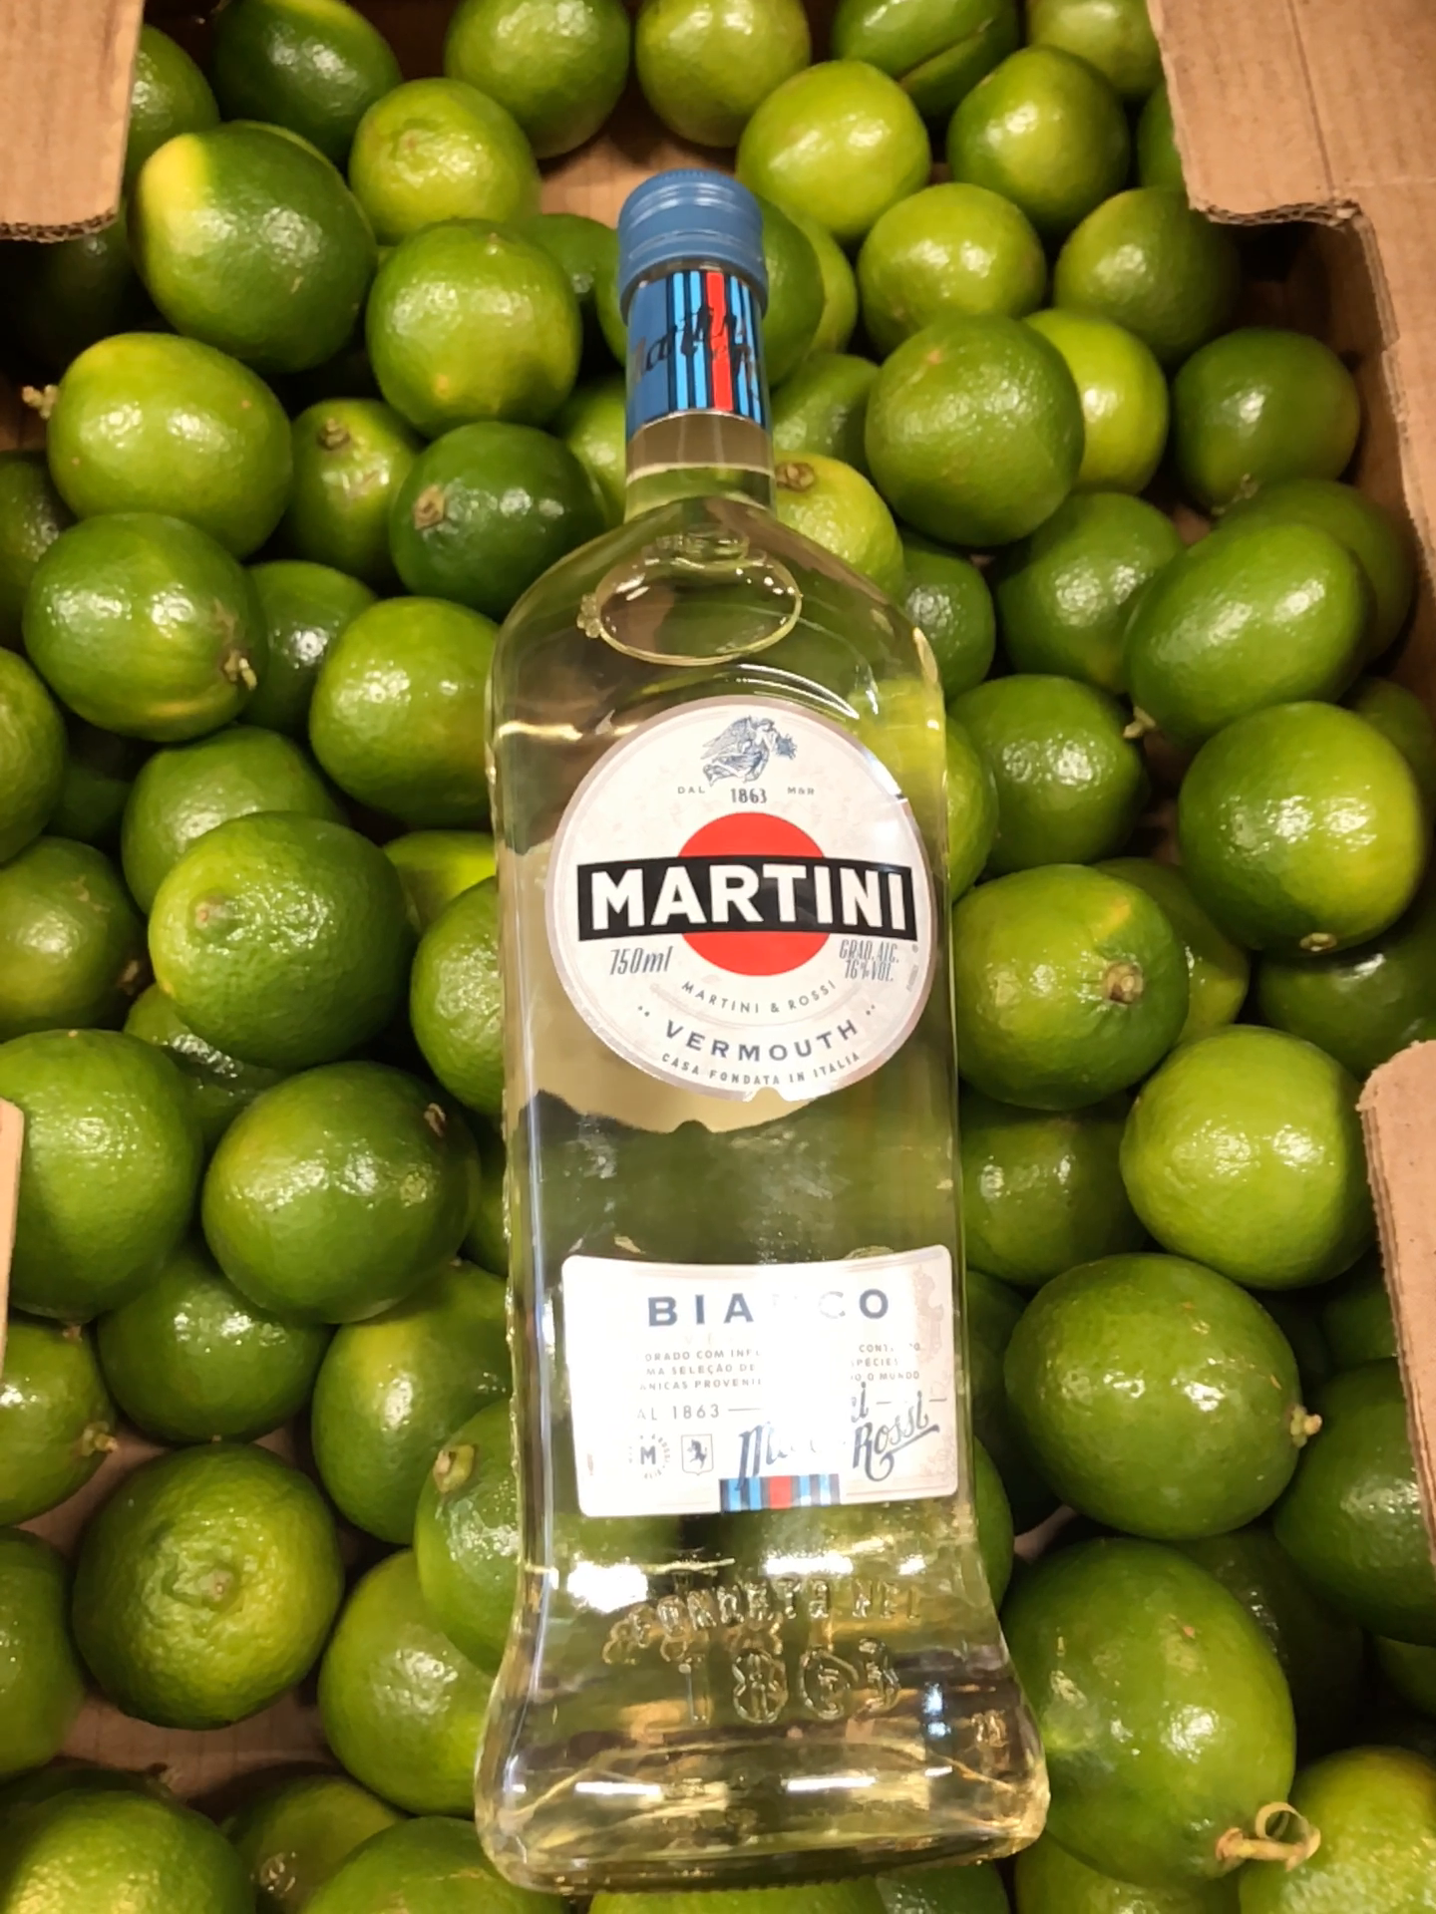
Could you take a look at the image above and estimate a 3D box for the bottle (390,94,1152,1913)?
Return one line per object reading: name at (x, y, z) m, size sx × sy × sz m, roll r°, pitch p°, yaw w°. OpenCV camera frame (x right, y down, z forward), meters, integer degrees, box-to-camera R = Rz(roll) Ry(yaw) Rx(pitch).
bottle at (-0.005, -0.014, 0.290) m, size 0.100 × 0.050 × 0.321 m, roll -2°, pitch 70°, yaw -7°
